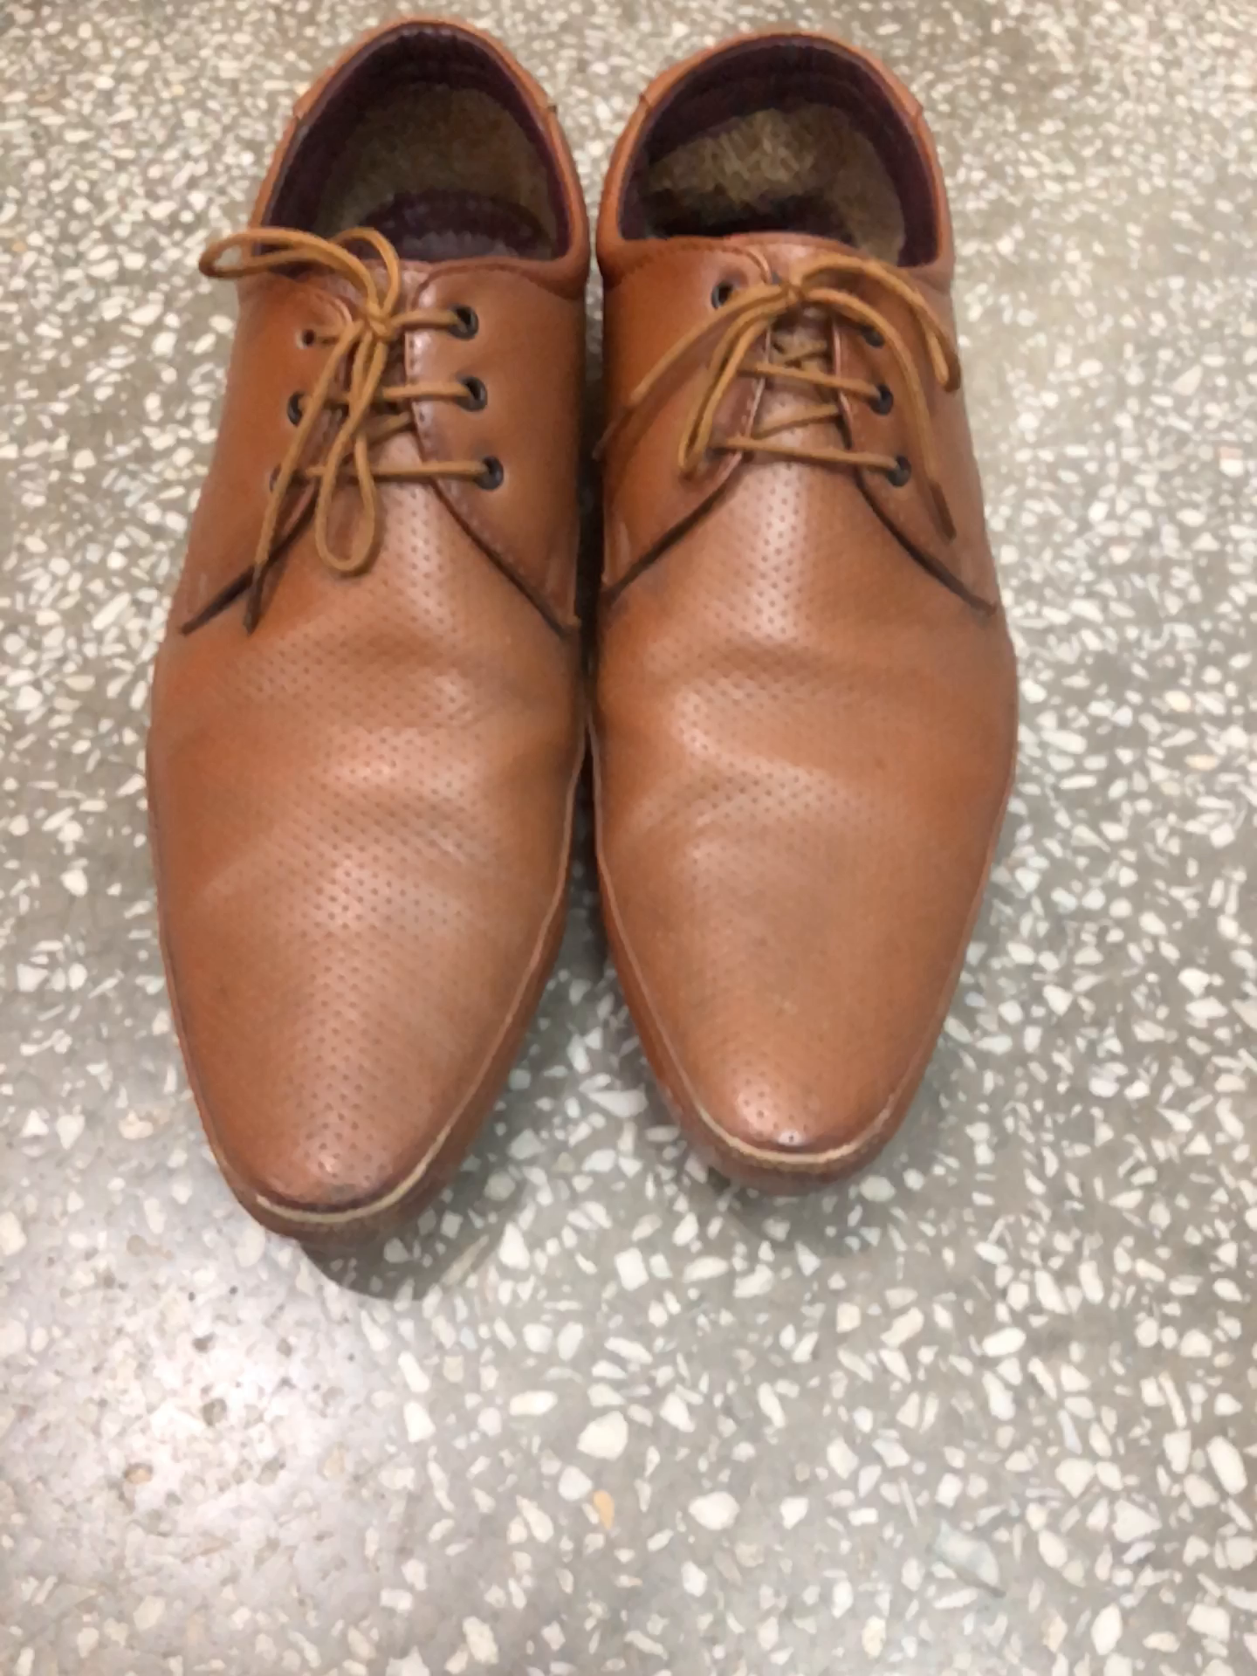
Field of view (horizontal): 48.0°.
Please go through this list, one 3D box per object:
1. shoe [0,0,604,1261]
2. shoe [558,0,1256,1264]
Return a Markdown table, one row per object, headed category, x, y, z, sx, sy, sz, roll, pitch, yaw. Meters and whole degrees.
| category | x | y | z | sx | sy | sz | roll | pitch | yaw |
| --- | --- | --- | --- | --- | --- | --- | --- | --- | --- |
| shoe | -0.060 | -0.062 | 0.321 | 0.105 | 0.118 | 0.285 | 1 | 62 | -2 |
| shoe | 0.040 | -0.060 | 0.326 | 0.105 | 0.118 | 0.285 | 1 | 62 | -2 |
